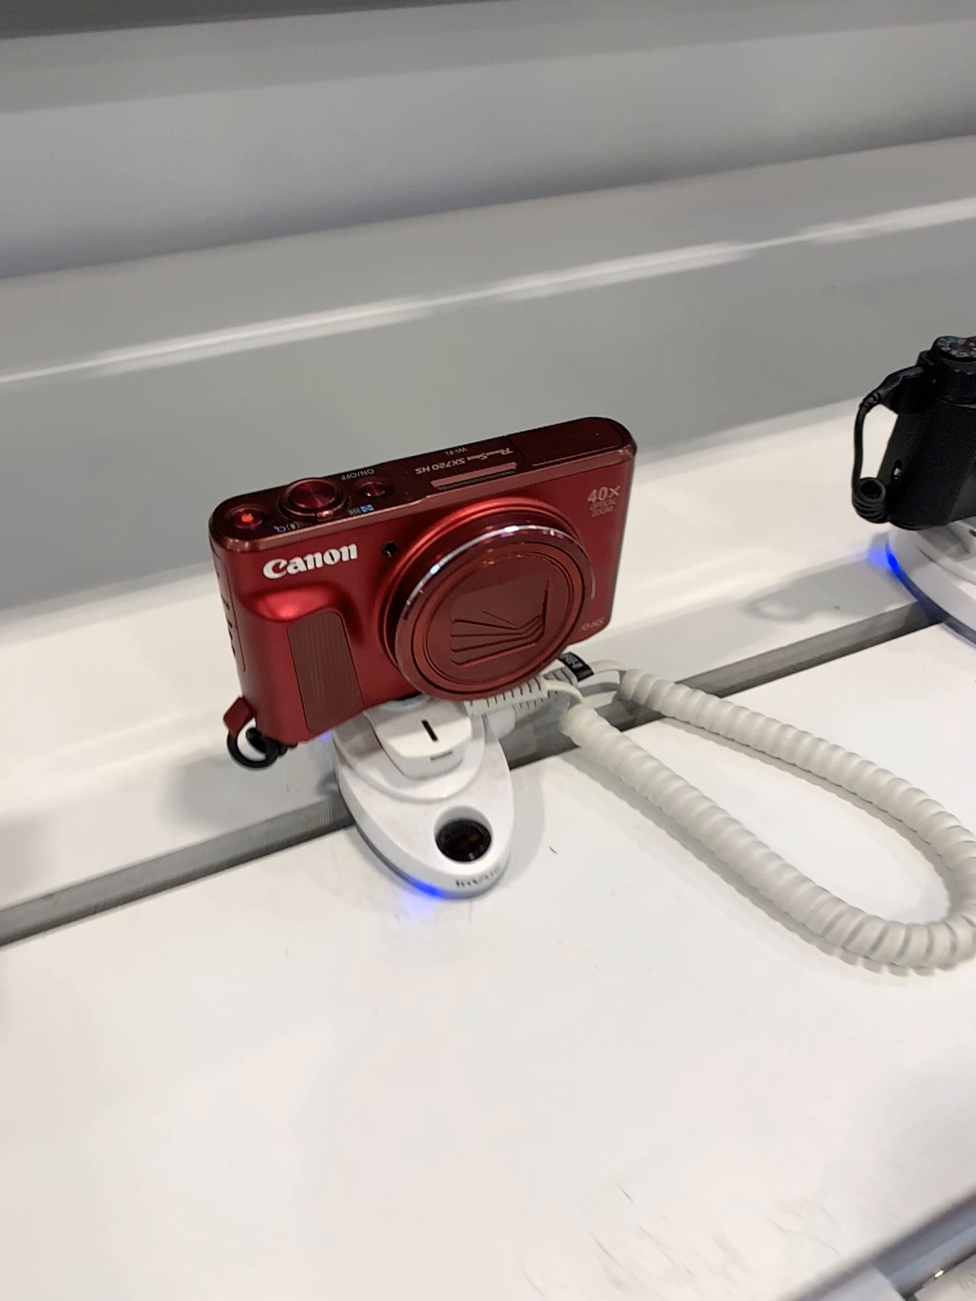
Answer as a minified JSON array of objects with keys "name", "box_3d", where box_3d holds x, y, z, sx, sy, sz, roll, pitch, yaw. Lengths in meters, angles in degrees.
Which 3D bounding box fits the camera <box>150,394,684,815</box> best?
[{"name":"camera","box_3d":[-0.016,-0.014,0.263,0.120,0.070,0.040,-18,46,-19]}]
